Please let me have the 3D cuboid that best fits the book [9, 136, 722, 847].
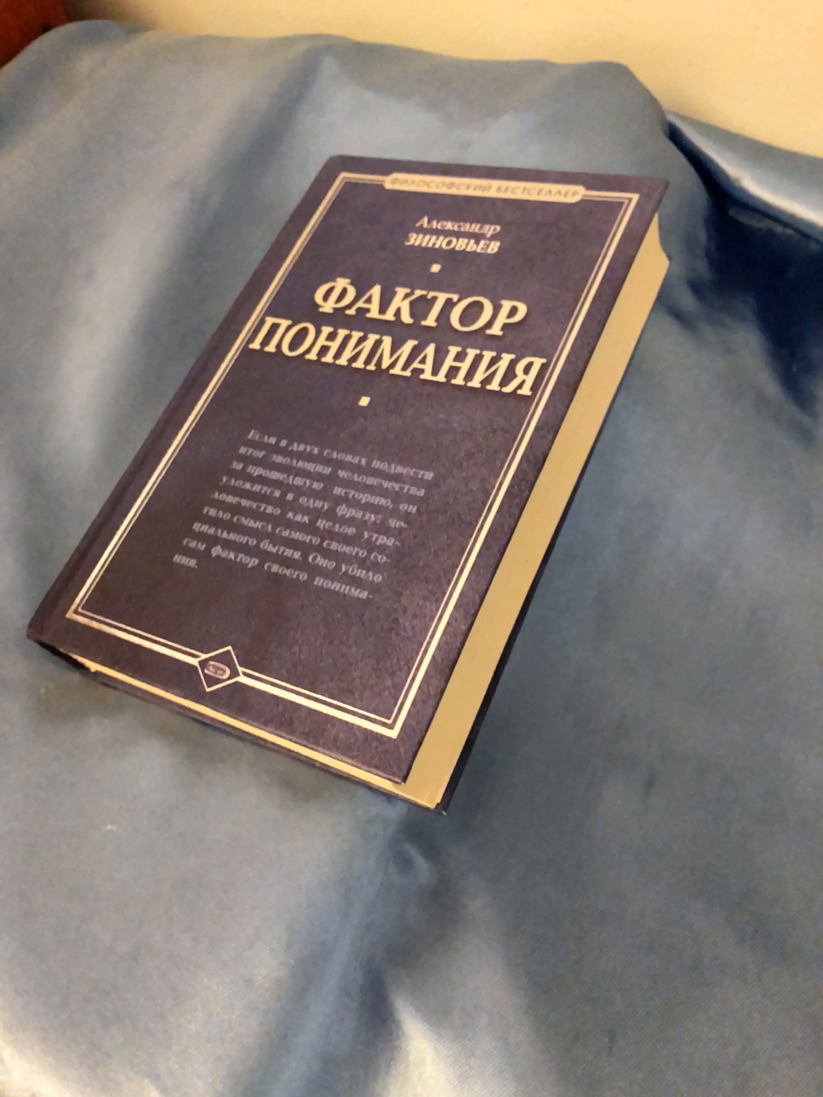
[{"bbox_3d":[-0.004,-0.041,0.291,0.140,0.040,0.221,15,64,27],"label":"book"}]
